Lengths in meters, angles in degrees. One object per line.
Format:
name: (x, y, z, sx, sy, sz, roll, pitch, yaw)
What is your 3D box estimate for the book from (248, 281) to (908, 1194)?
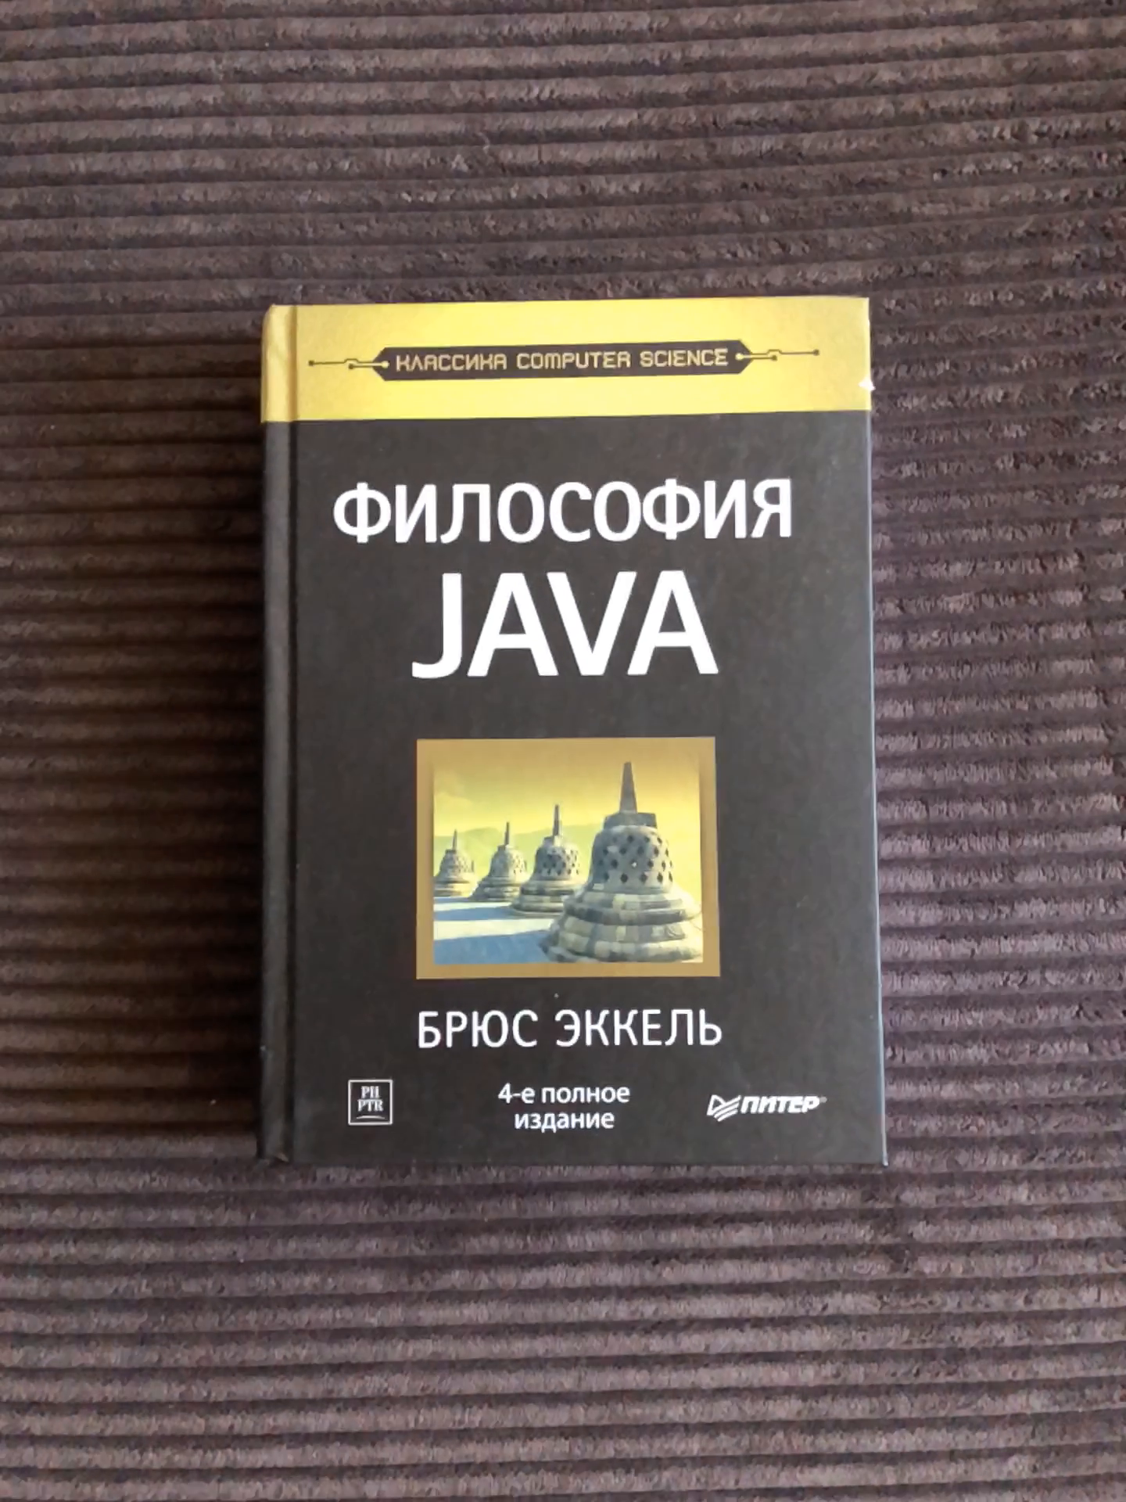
book: (0.002, -0.004, 0.359, 0.171, 0.060, 0.239, -1, 87, 1)
